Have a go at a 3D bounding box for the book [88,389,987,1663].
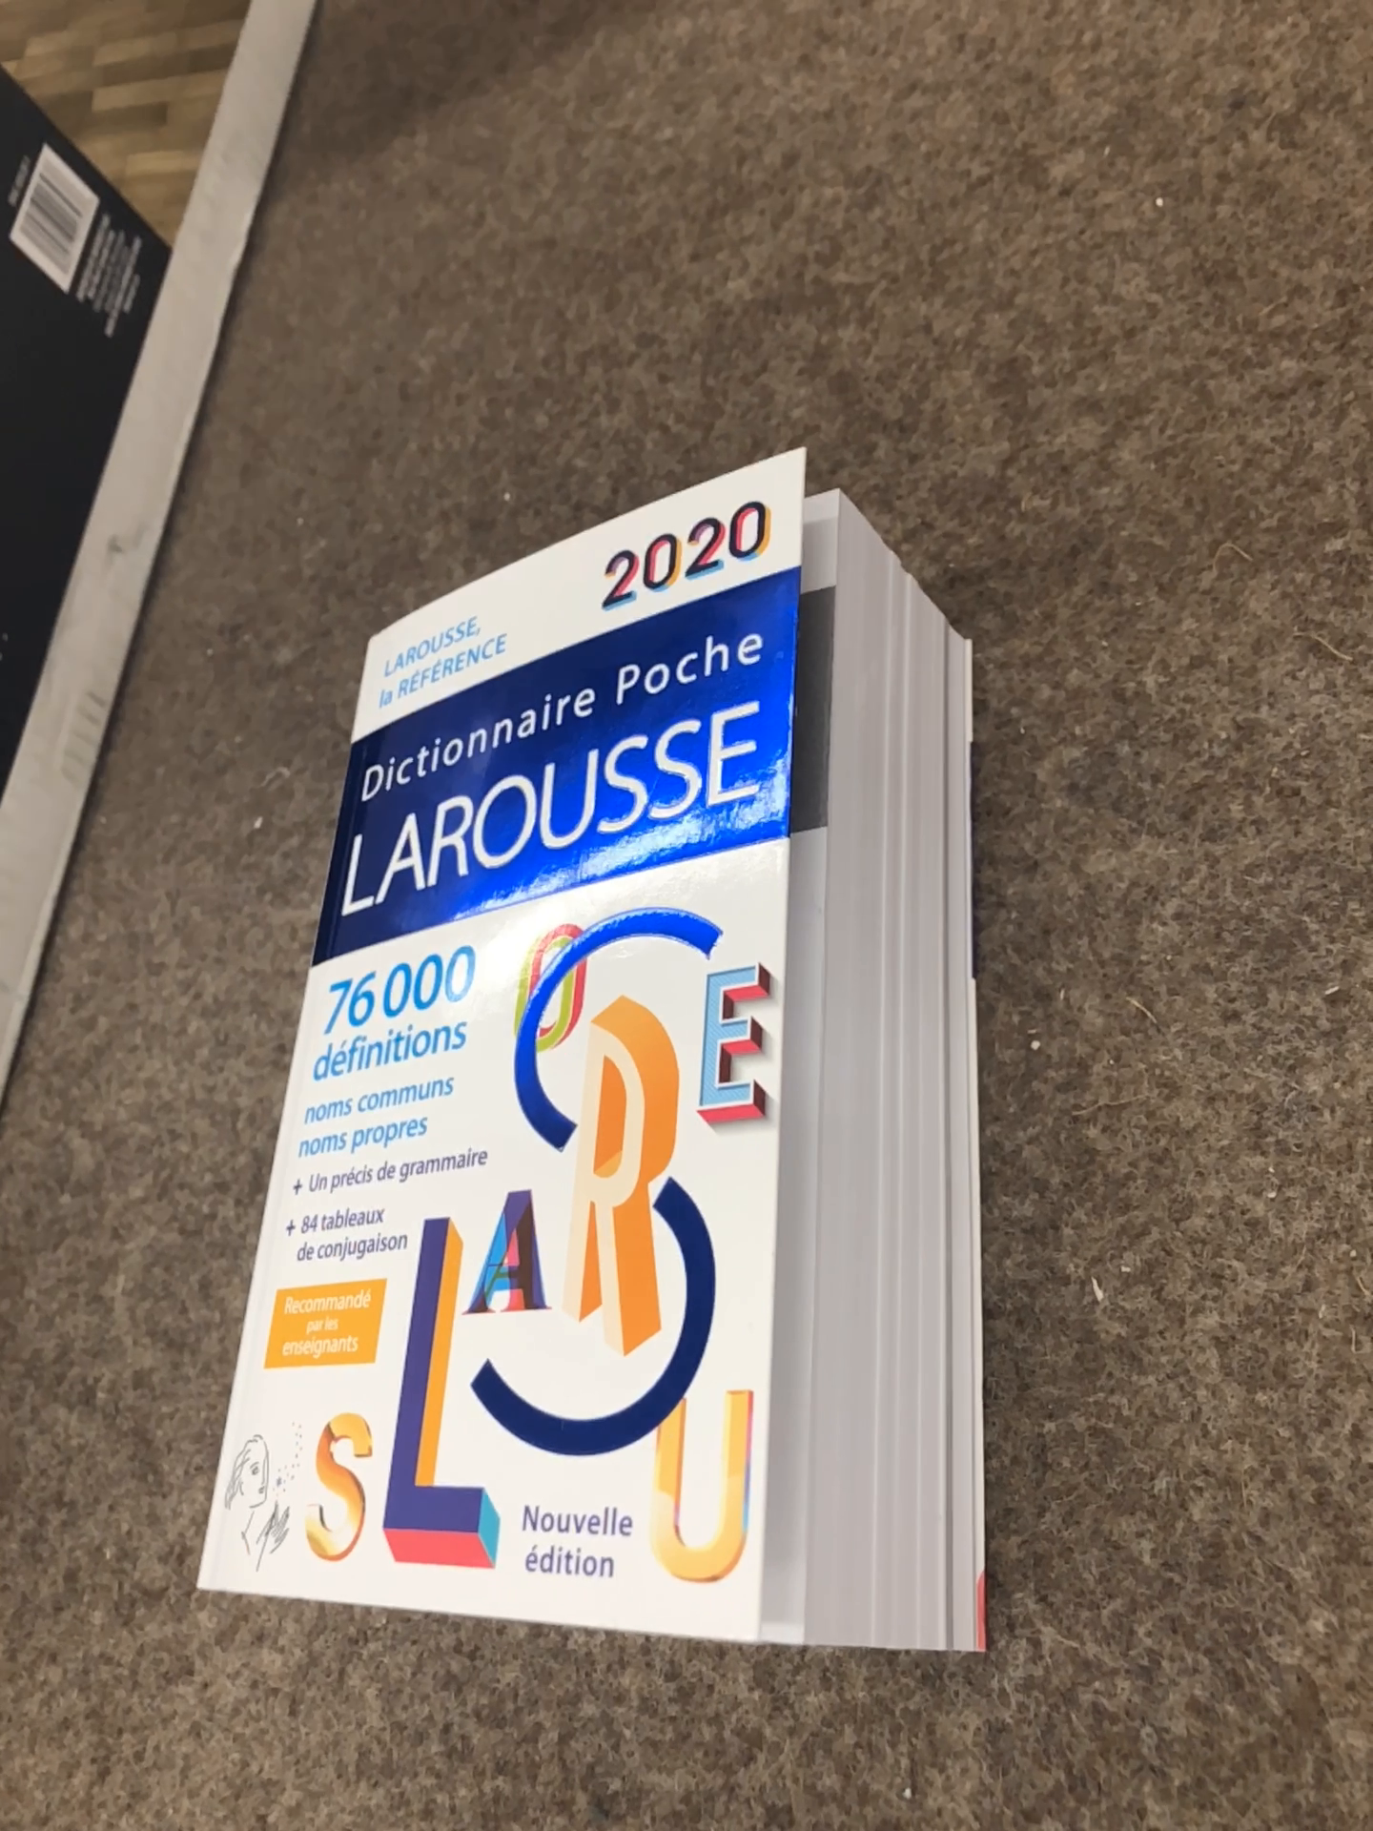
[{"bbox_3d":[-0.018,0.020,0.259,0.117,0.060,0.184,-11,62,29],"label":"book"}]
